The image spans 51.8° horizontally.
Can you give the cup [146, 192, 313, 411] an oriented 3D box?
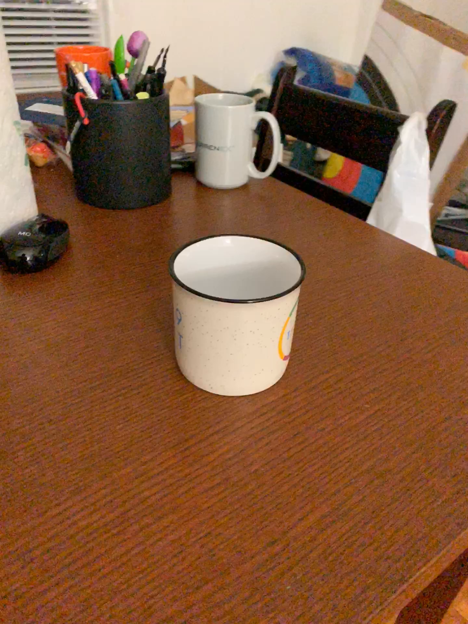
[{"bbox_3d":[0.004,-0.017,0.390,0.100,0.099,0.151,8,35,7],"label":"cup"}]
